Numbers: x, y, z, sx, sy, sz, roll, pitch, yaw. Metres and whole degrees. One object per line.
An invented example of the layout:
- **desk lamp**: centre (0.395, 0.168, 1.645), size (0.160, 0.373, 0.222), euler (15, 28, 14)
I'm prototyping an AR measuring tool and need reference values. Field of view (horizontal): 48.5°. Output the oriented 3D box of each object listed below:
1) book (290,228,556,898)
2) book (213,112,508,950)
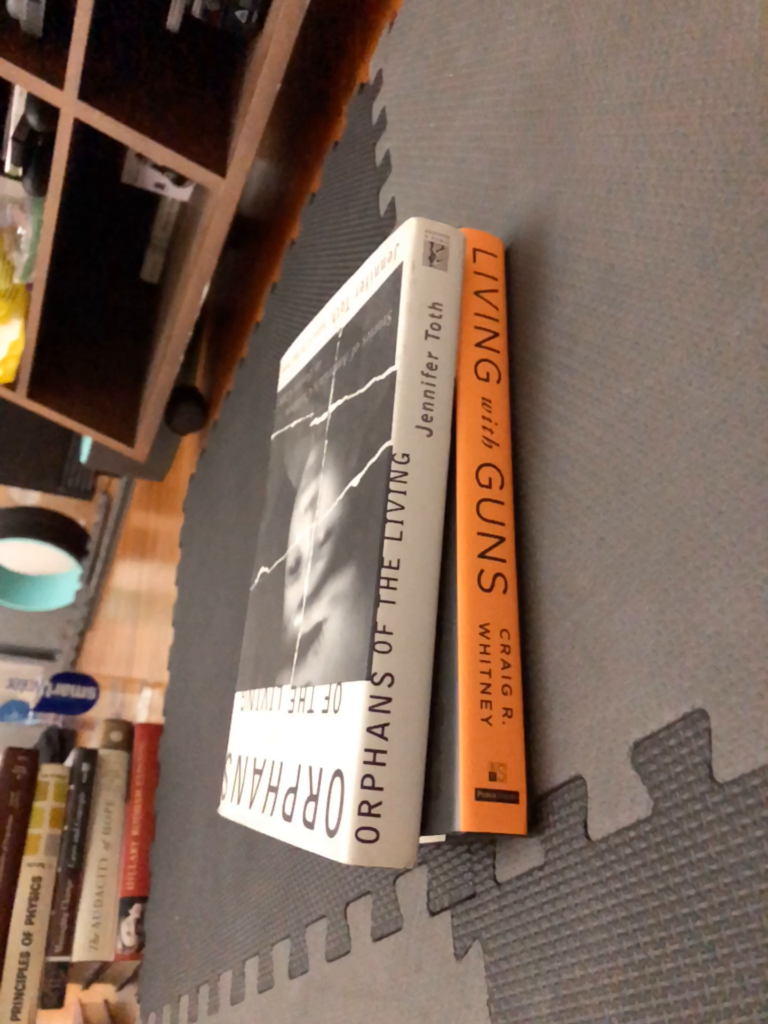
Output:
- **book**: centre (0.008, 0.029, 0.370), size (0.160, 0.030, 0.250), euler (137, 140, -56)
- **book**: centre (-0.016, 0.009, 0.361), size (0.181, 0.030, 0.280), euler (152, 127, -63)
